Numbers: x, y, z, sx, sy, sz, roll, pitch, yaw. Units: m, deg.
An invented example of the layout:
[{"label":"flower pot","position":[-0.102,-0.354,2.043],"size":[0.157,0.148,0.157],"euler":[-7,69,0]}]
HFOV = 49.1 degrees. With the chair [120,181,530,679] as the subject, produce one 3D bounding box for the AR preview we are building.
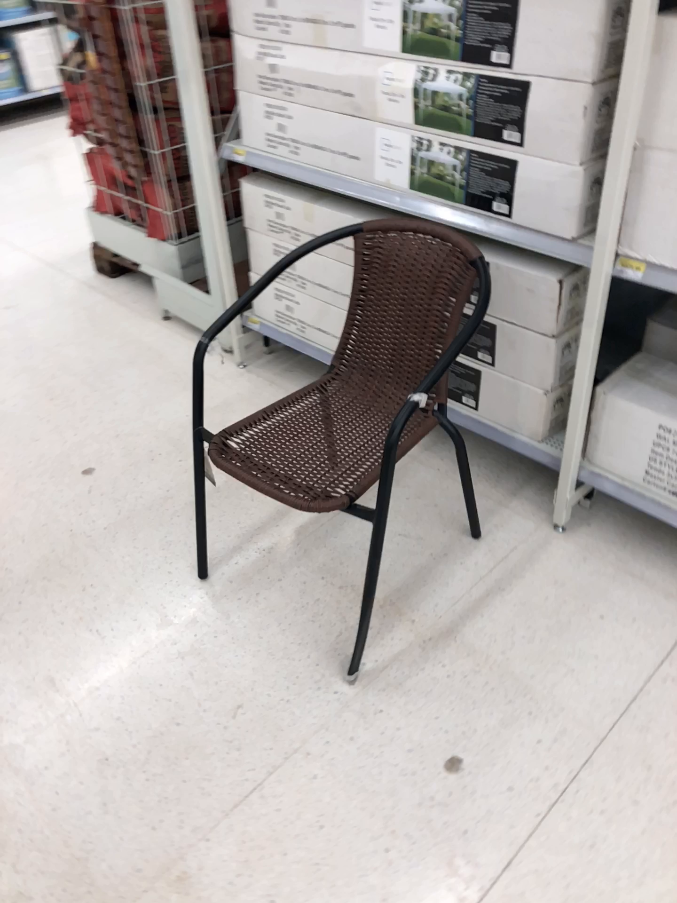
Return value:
[{"label":"chair","position":[0.010,-0.067,1.486],"size":[0.481,0.715,0.532],"euler":[22,44,31]}]
